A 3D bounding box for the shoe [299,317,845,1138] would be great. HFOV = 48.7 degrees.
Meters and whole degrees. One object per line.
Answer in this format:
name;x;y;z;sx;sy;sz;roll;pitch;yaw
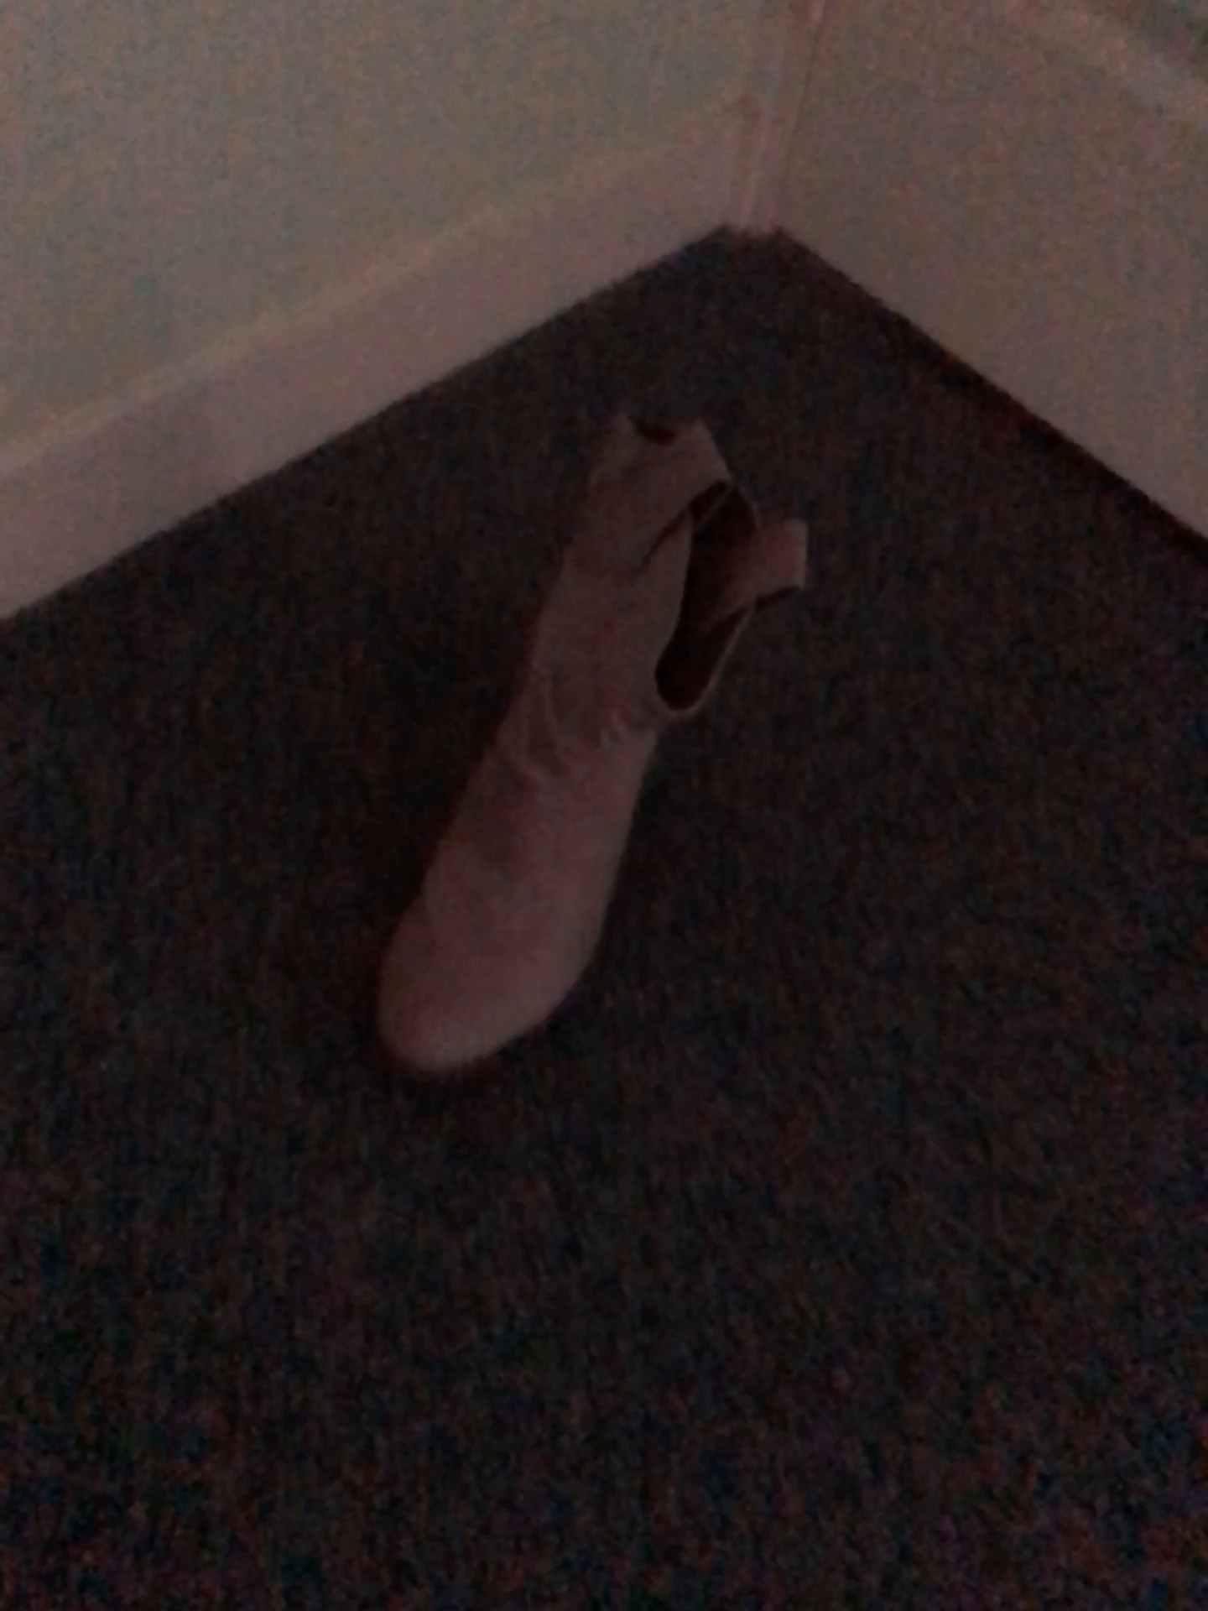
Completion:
shoe;-0.011;-0.027;0.567;0.130;0.219;0.241;17;57;3
